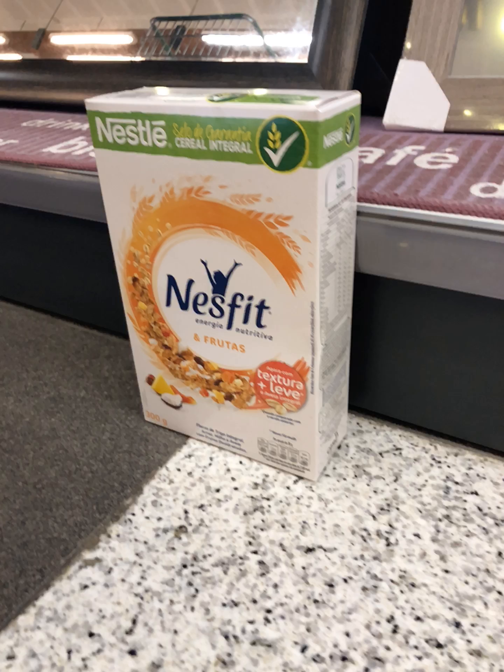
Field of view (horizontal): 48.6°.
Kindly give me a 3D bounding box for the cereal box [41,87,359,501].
[{"bbox_3d":[-0.024,-0.026,0.372,0.170,0.248,0.060,13,35,26],"label":"cereal box"}]
